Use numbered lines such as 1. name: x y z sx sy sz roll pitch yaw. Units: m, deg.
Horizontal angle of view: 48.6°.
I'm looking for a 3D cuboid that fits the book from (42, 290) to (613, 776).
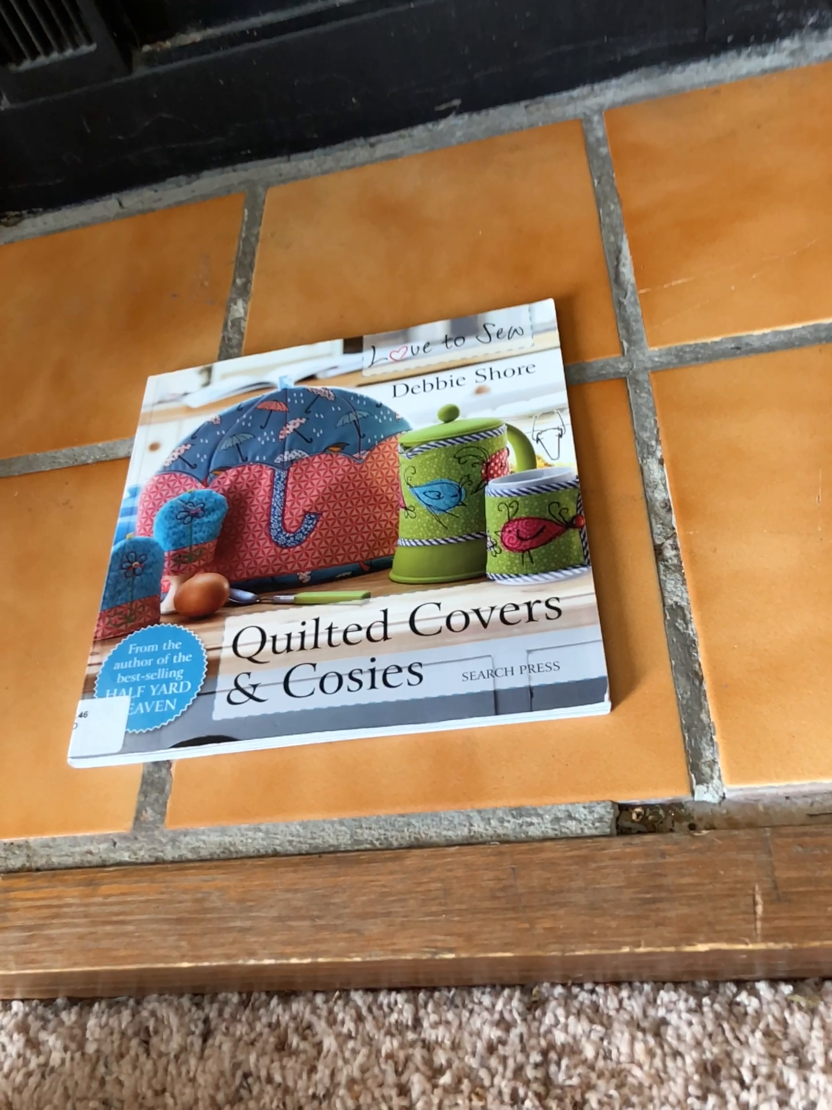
1. book: -0.040 -0.019 0.415 0.225 0.015 0.219 -8 55 10
